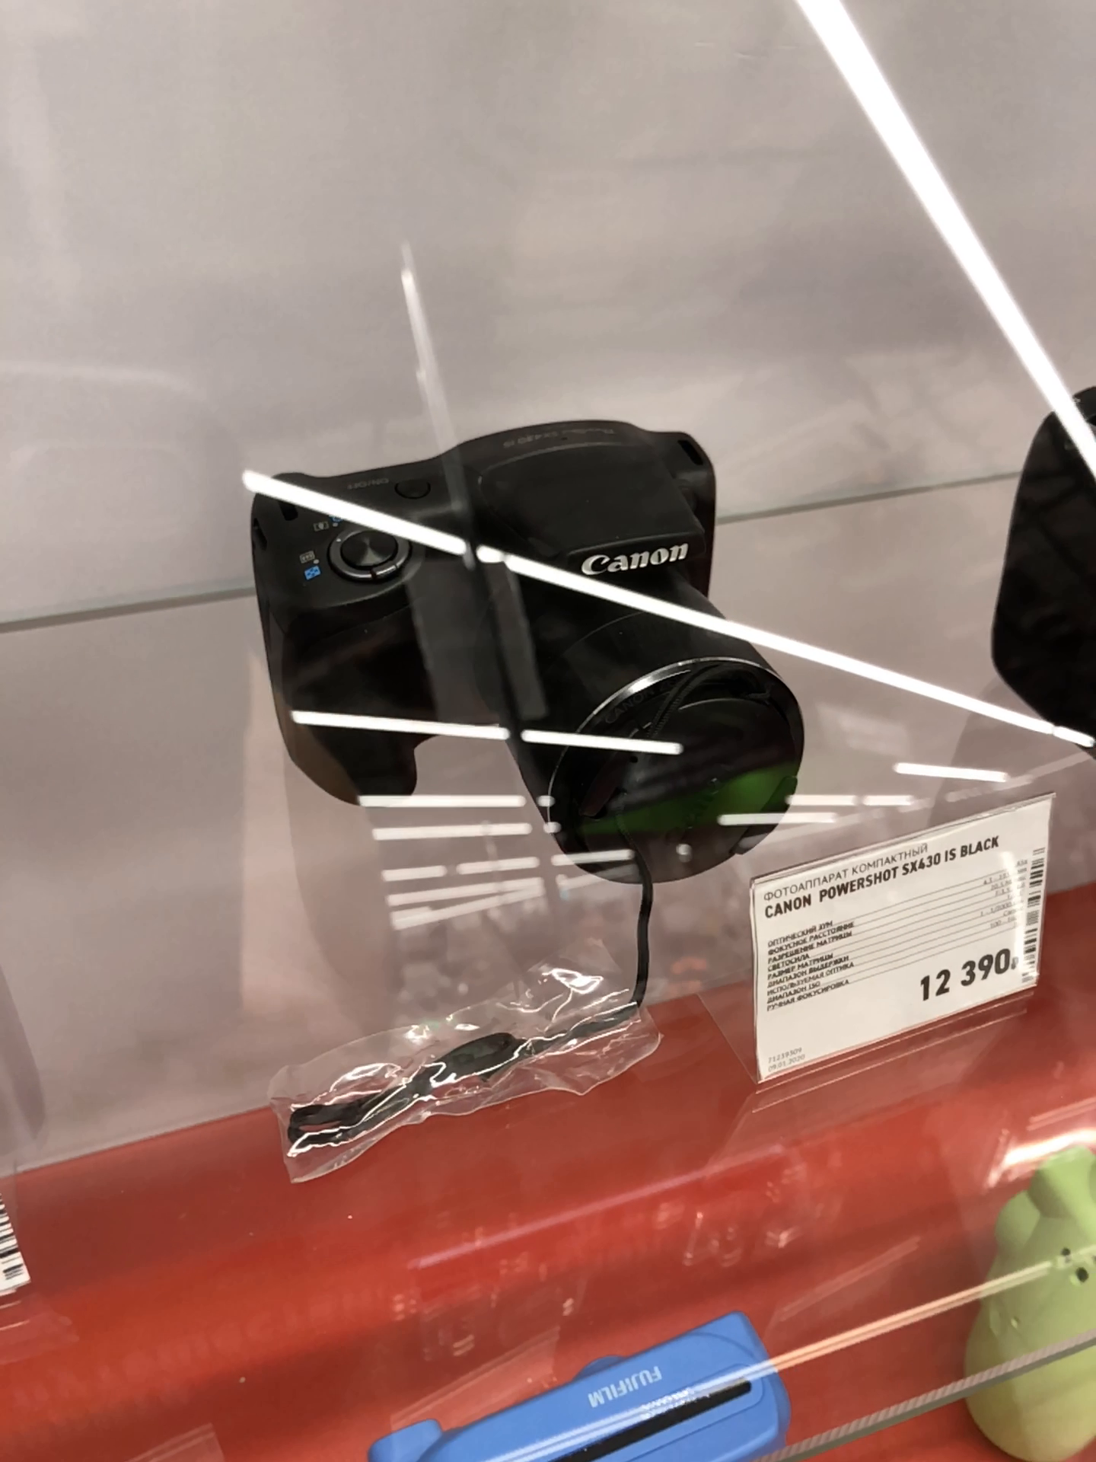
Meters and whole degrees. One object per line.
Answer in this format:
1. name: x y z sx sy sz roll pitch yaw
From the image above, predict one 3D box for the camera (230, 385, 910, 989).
1. camera: -0.001 -0.015 0.267 0.113 0.080 0.086 -11 39 -16
